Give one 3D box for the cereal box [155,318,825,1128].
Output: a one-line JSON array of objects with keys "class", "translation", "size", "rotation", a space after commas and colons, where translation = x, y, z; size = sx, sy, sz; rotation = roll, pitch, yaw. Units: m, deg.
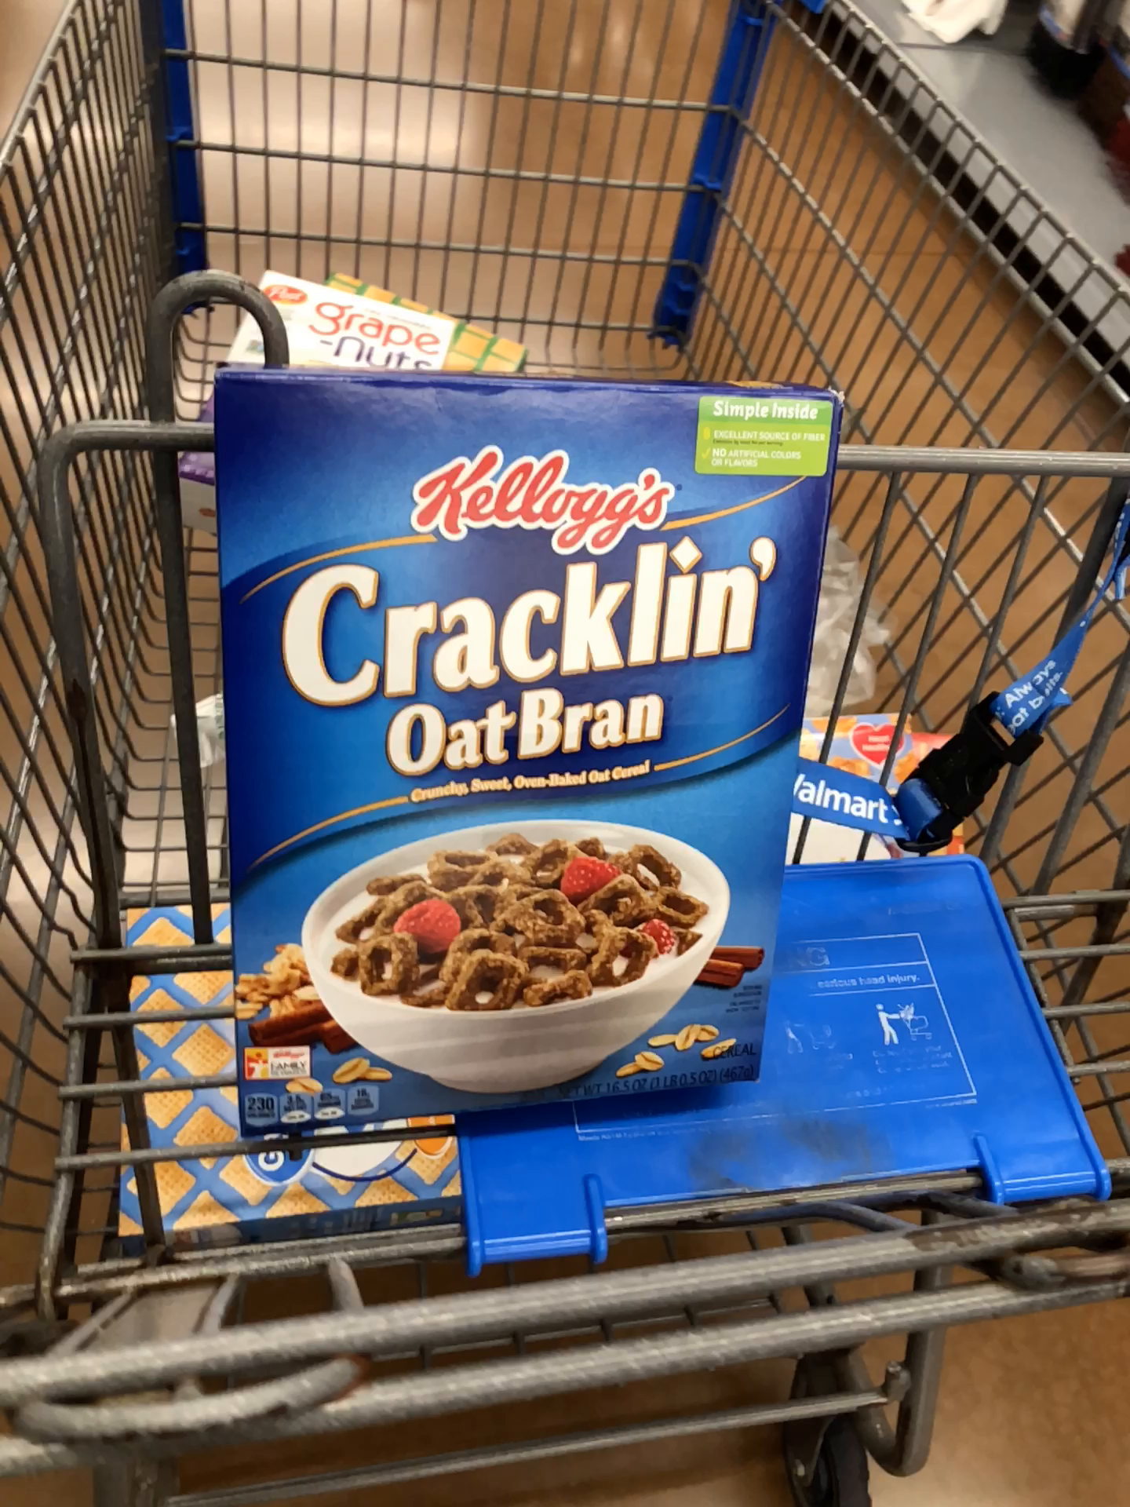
[{"class": "cereal box", "translation": [-0.028, -0.007, 0.430], "size": [0.200, 0.260, 0.050], "rotation": [-1, 19, -14]}]
